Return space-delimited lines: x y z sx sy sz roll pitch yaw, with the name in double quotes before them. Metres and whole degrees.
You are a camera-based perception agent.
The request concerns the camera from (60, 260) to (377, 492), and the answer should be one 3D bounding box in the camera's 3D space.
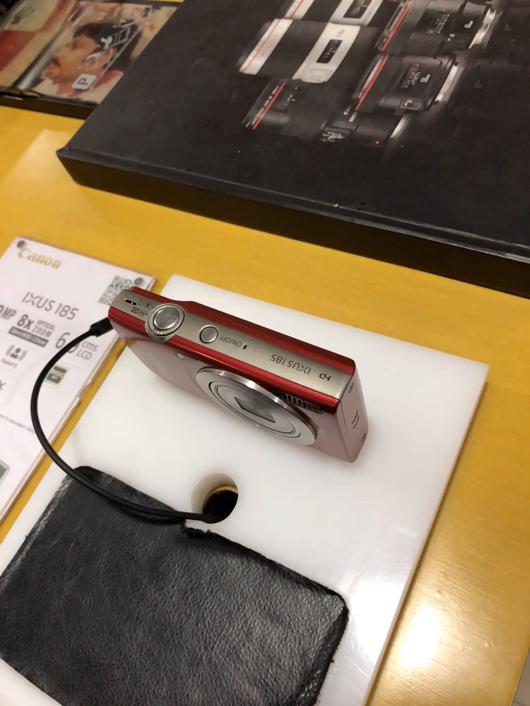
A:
"camera" -0.015 0.007 0.208 0.100 0.050 0.030 21 69 24
